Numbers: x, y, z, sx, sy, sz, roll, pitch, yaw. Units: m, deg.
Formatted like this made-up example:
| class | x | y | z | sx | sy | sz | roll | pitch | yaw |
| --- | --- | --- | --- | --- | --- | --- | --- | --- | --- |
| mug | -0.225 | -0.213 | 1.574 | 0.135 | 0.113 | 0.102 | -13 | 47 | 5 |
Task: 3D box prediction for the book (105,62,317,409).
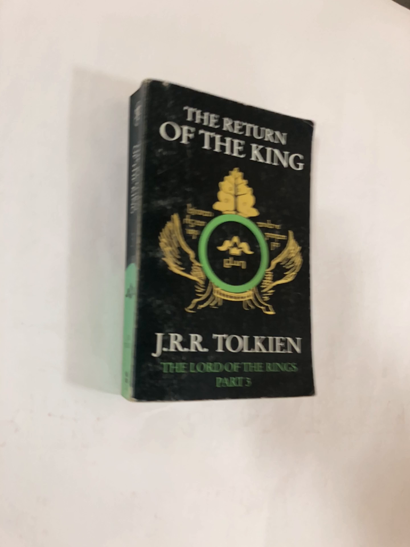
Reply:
| class | x | y | z | sx | sy | sz | roll | pitch | yaw |
| --- | --- | --- | --- | --- | --- | --- | --- | --- | --- |
| book | 0.008 | -0.019 | 0.302 | 0.130 | 0.040 | 0.200 | 5 | 80 | -26 |
